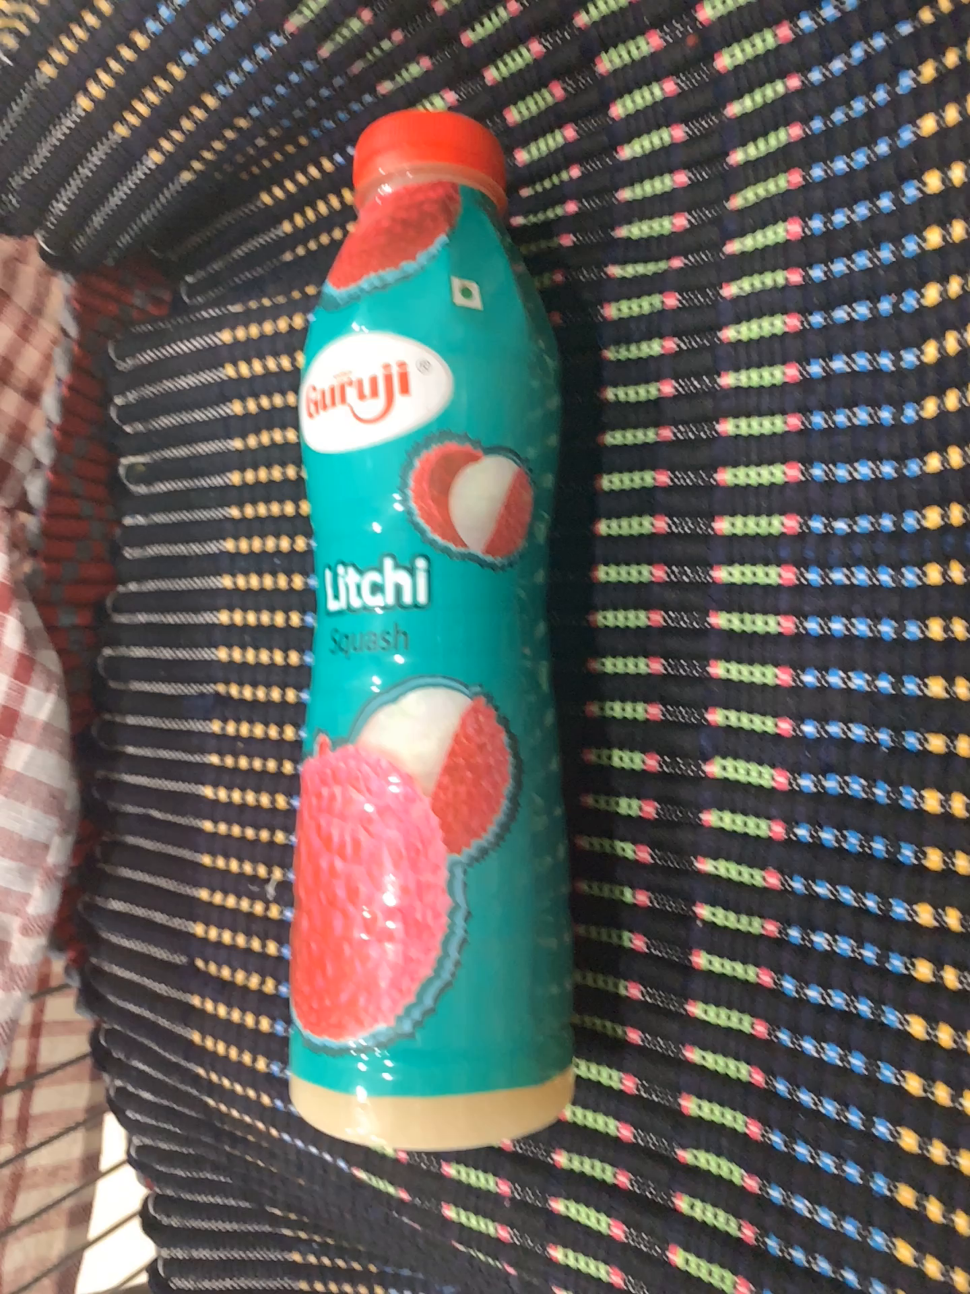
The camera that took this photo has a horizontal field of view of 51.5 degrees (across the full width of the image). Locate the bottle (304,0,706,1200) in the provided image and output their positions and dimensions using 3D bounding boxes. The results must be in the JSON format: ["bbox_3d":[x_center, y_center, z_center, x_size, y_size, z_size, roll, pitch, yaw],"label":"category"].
[{"bbox_3d":[0.011,-0.021,0.273,0.070,0.080,0.280,-4,80,31],"label":"bottle"}]
